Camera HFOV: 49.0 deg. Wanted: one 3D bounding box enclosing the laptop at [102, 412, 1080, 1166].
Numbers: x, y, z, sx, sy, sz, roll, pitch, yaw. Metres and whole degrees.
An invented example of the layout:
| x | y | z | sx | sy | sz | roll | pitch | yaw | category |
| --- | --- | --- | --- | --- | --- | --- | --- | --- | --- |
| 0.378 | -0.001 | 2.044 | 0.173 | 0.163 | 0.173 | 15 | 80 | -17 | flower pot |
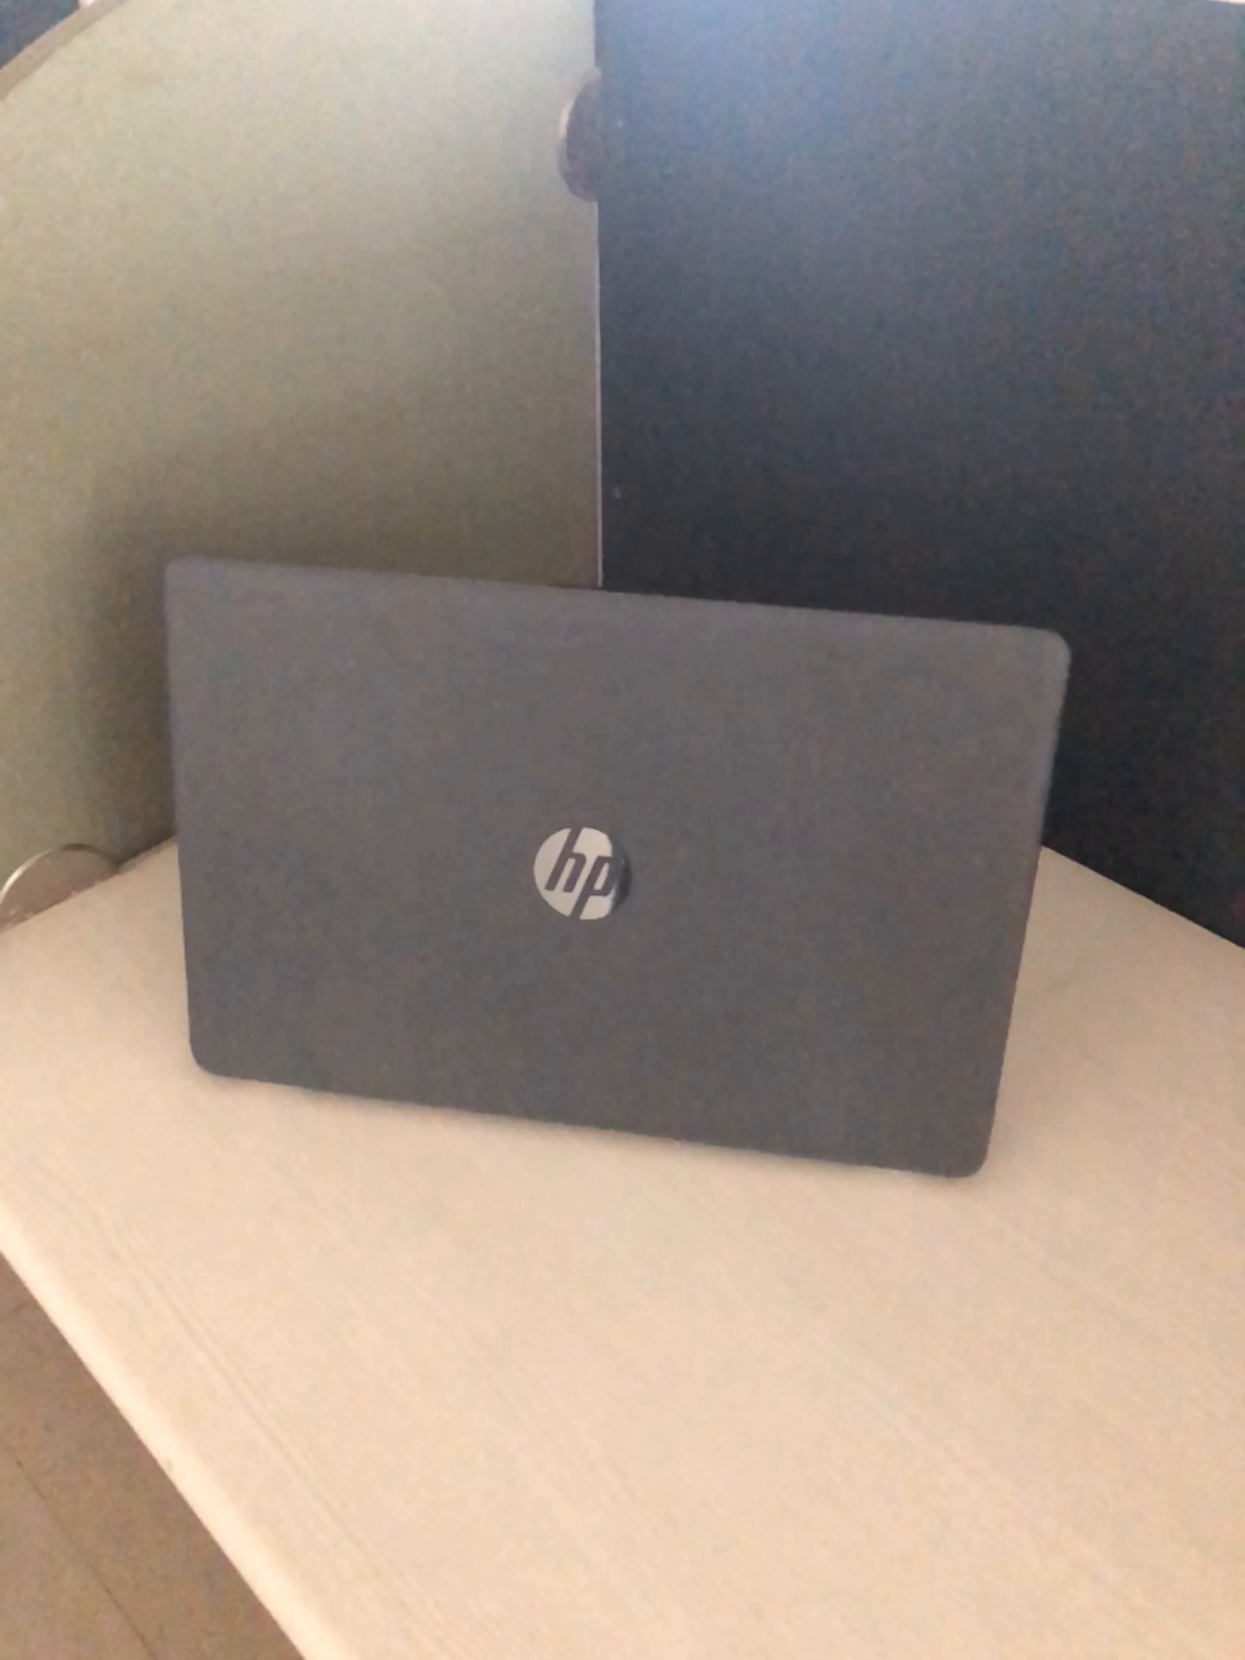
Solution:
| x | y | z | sx | sy | sz | roll | pitch | yaw | category |
| --- | --- | --- | --- | --- | --- | --- | --- | --- | --- |
| 0.001 | -0.034 | 0.646 | 0.359 | 0.215 | 0.239 | 6 | 40 | 9 | laptop |
